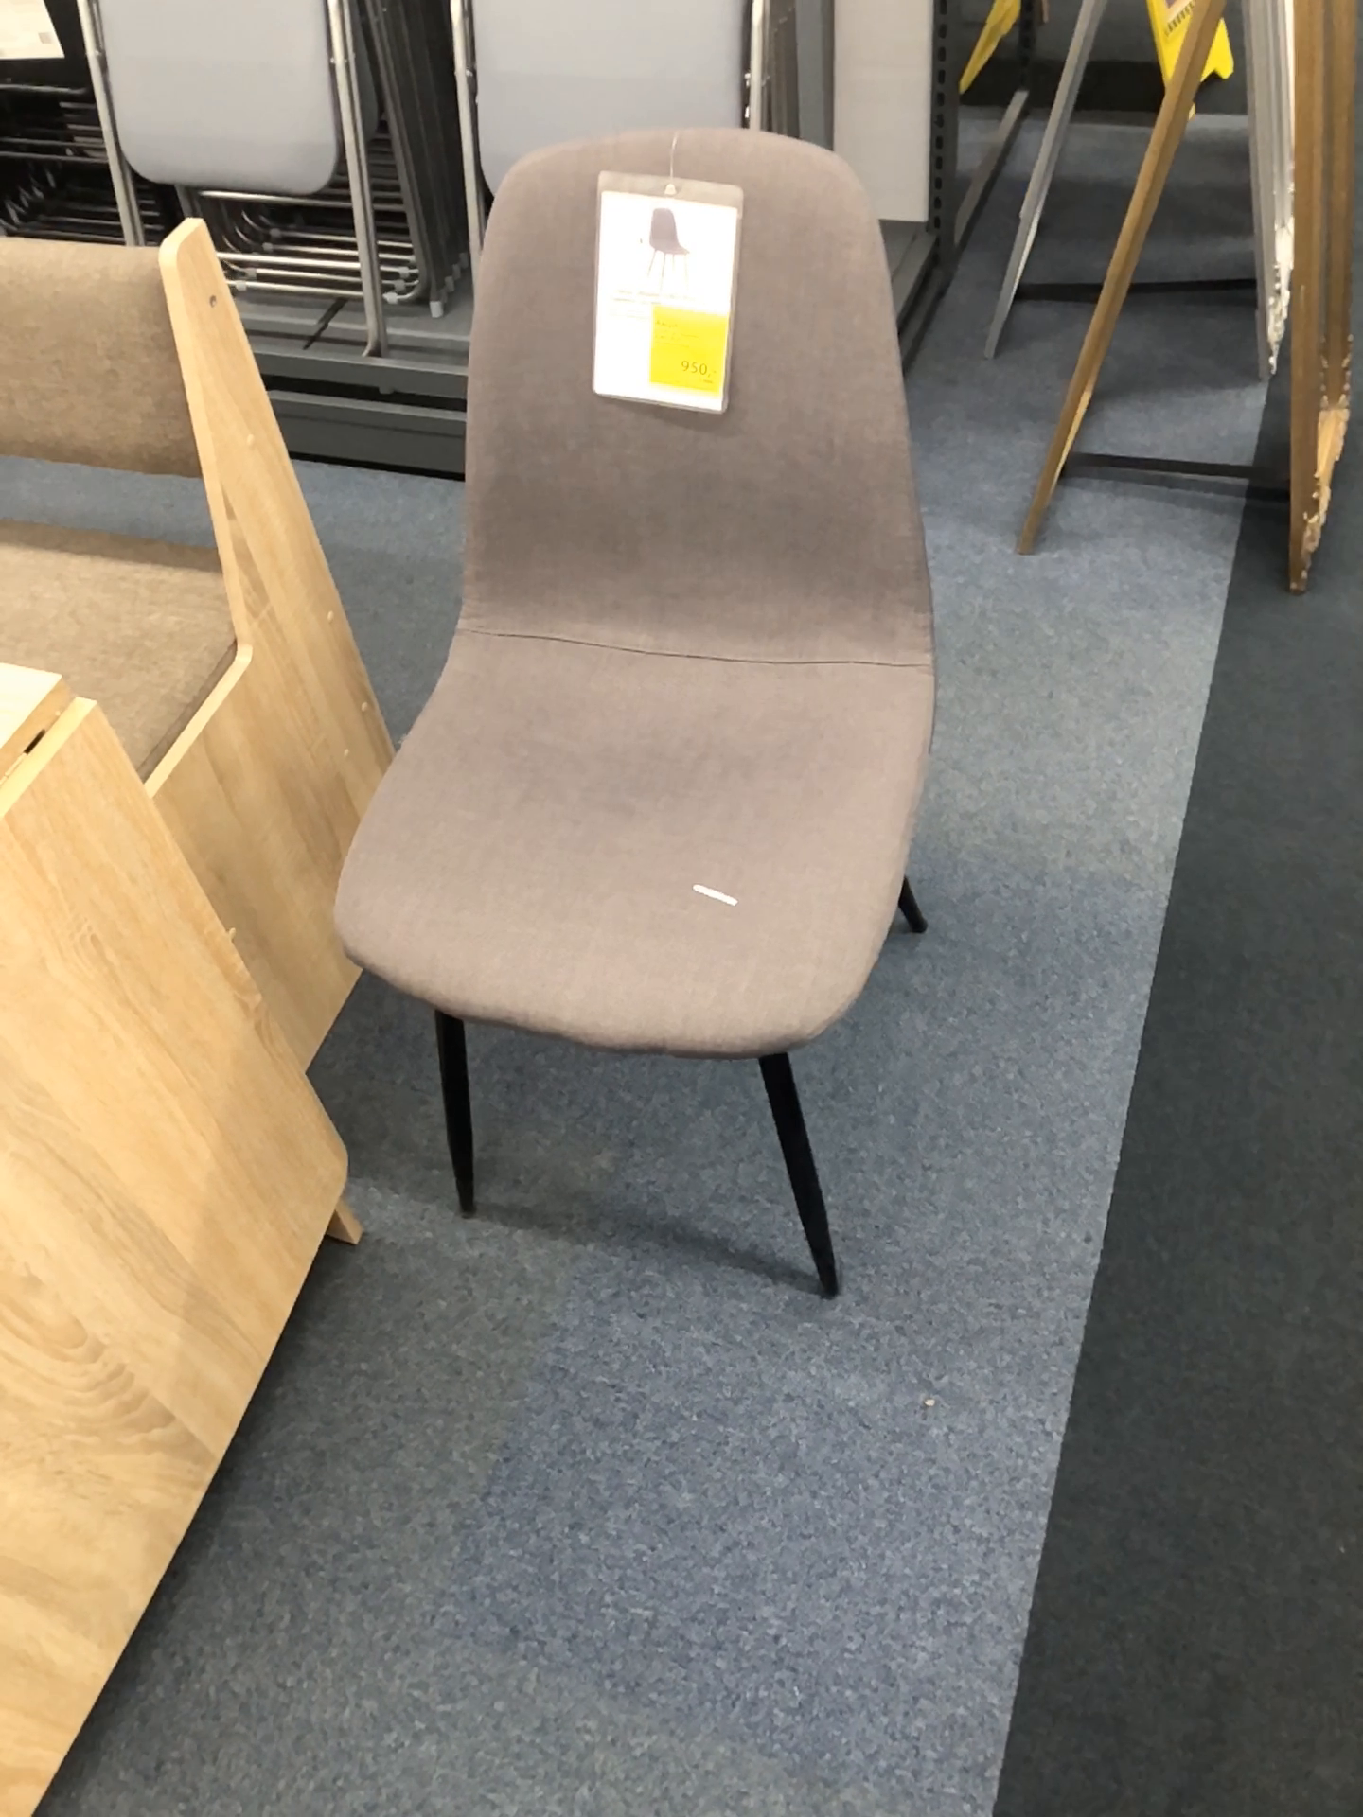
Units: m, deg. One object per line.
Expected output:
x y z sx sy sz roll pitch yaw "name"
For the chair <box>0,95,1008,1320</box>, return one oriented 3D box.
-0.037 -0.129 1.238 0.480 0.807 0.542 9 53 15 "chair"
